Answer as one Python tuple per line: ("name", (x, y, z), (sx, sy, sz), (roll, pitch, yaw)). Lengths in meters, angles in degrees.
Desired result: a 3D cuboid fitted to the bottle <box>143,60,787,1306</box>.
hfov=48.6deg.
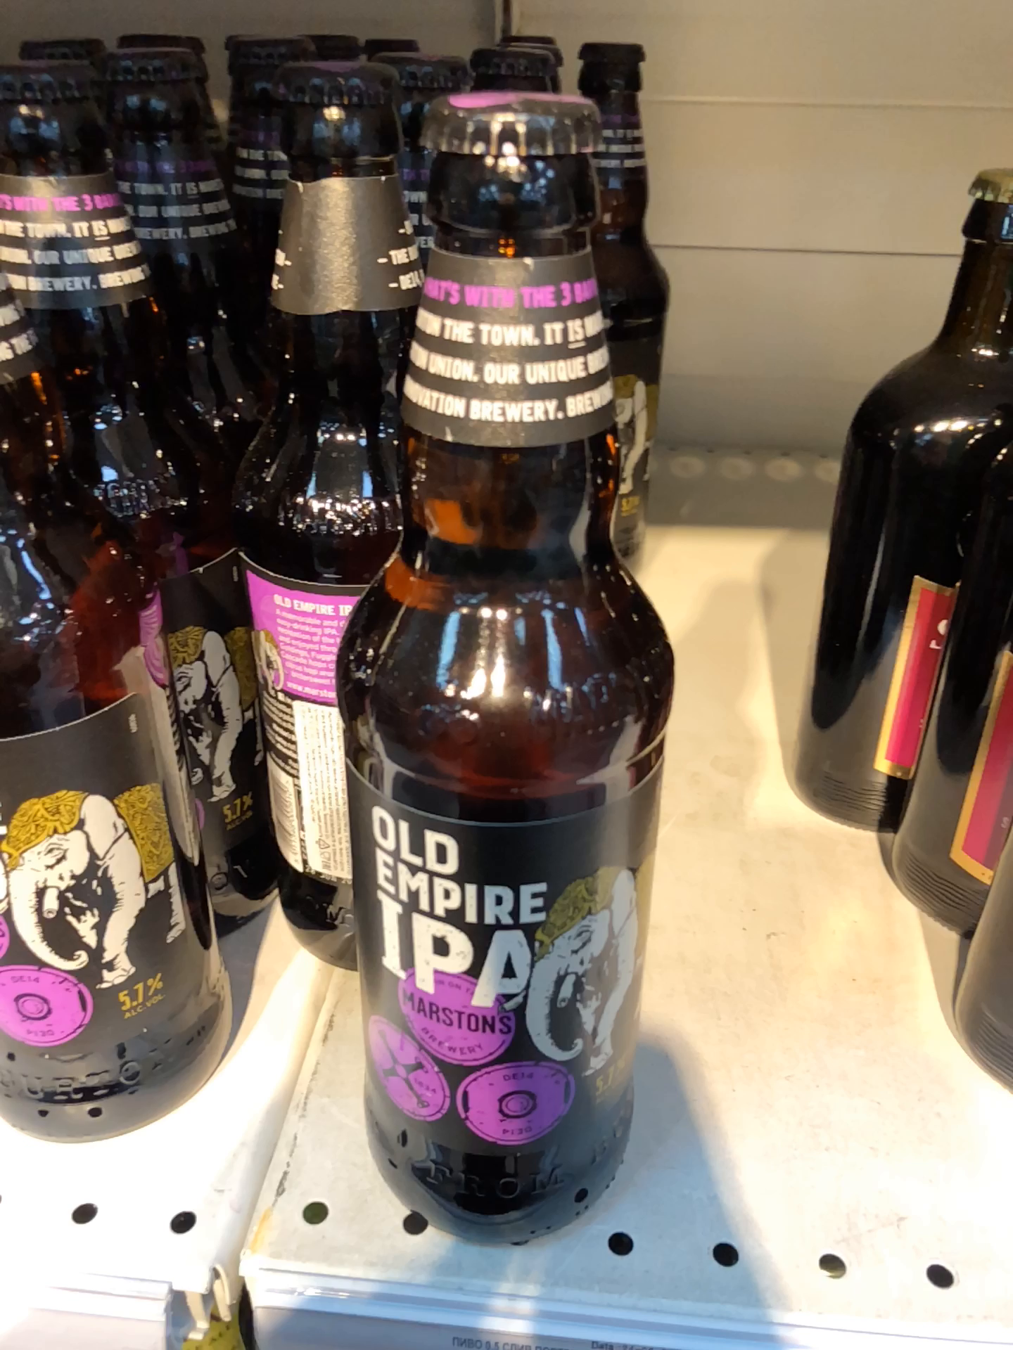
("bottle", (0.000, 0.012, 0.229), (0.080, 0.239, 0.080), (0, 30, 0))
